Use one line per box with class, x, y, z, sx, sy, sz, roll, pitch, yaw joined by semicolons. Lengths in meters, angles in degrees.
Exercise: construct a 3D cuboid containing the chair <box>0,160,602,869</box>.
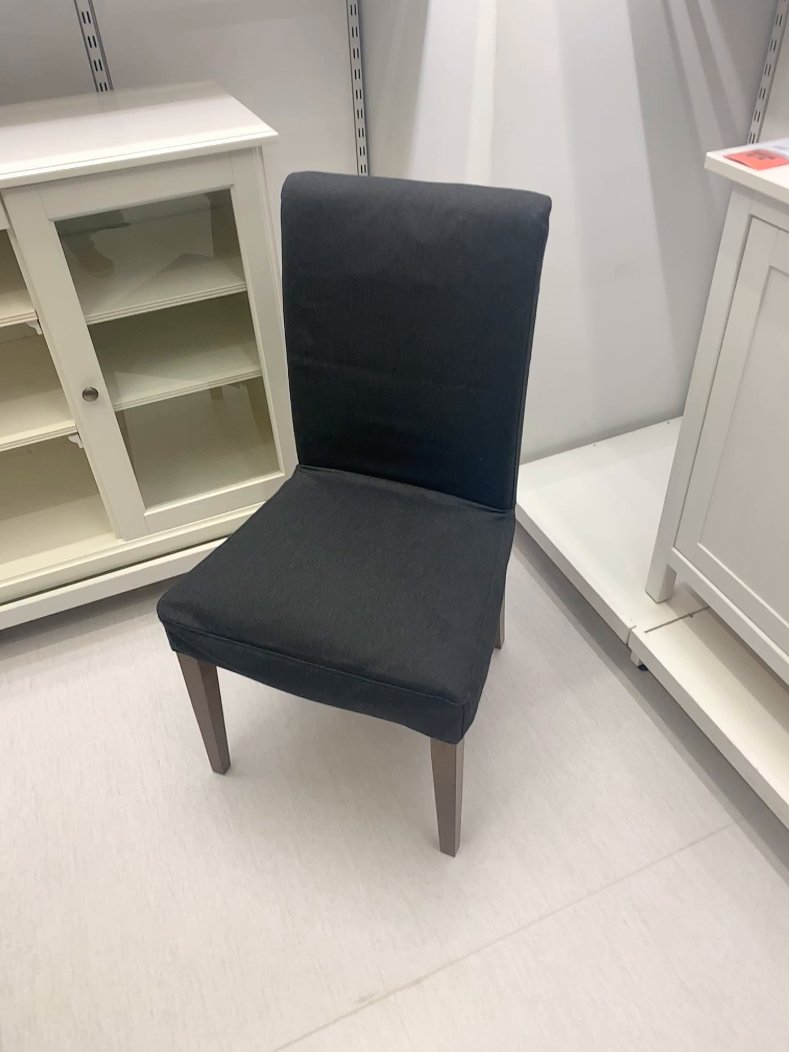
chair;-0.053;-0.030;1.272;0.541;0.836;0.612;13;43;18
